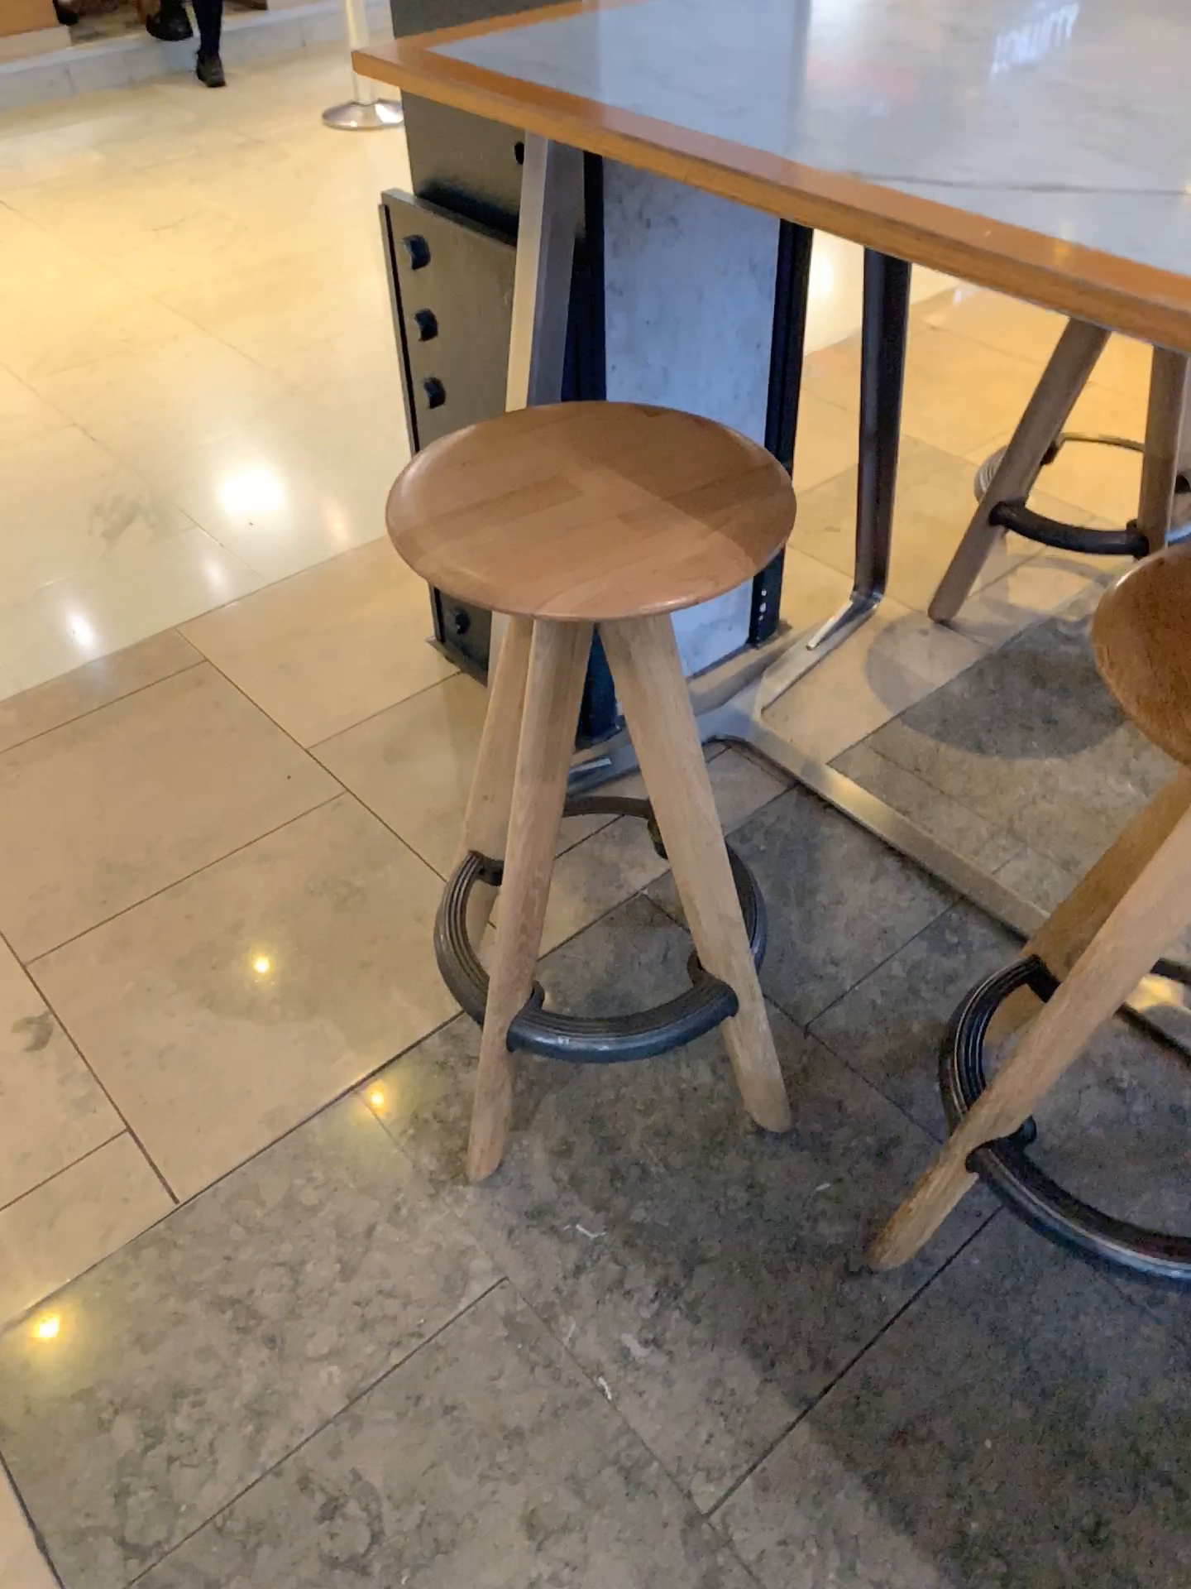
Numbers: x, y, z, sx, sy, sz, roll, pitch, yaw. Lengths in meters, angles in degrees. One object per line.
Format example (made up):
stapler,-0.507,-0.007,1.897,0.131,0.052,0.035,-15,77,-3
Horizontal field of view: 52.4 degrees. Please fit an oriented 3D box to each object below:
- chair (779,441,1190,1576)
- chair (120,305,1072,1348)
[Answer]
chair,0.497,0.183,1.008,0.424,0.706,0.465,-31,50,-28
chair,0.000,0.015,1.214,0.555,0.706,0.536,-31,50,-28
